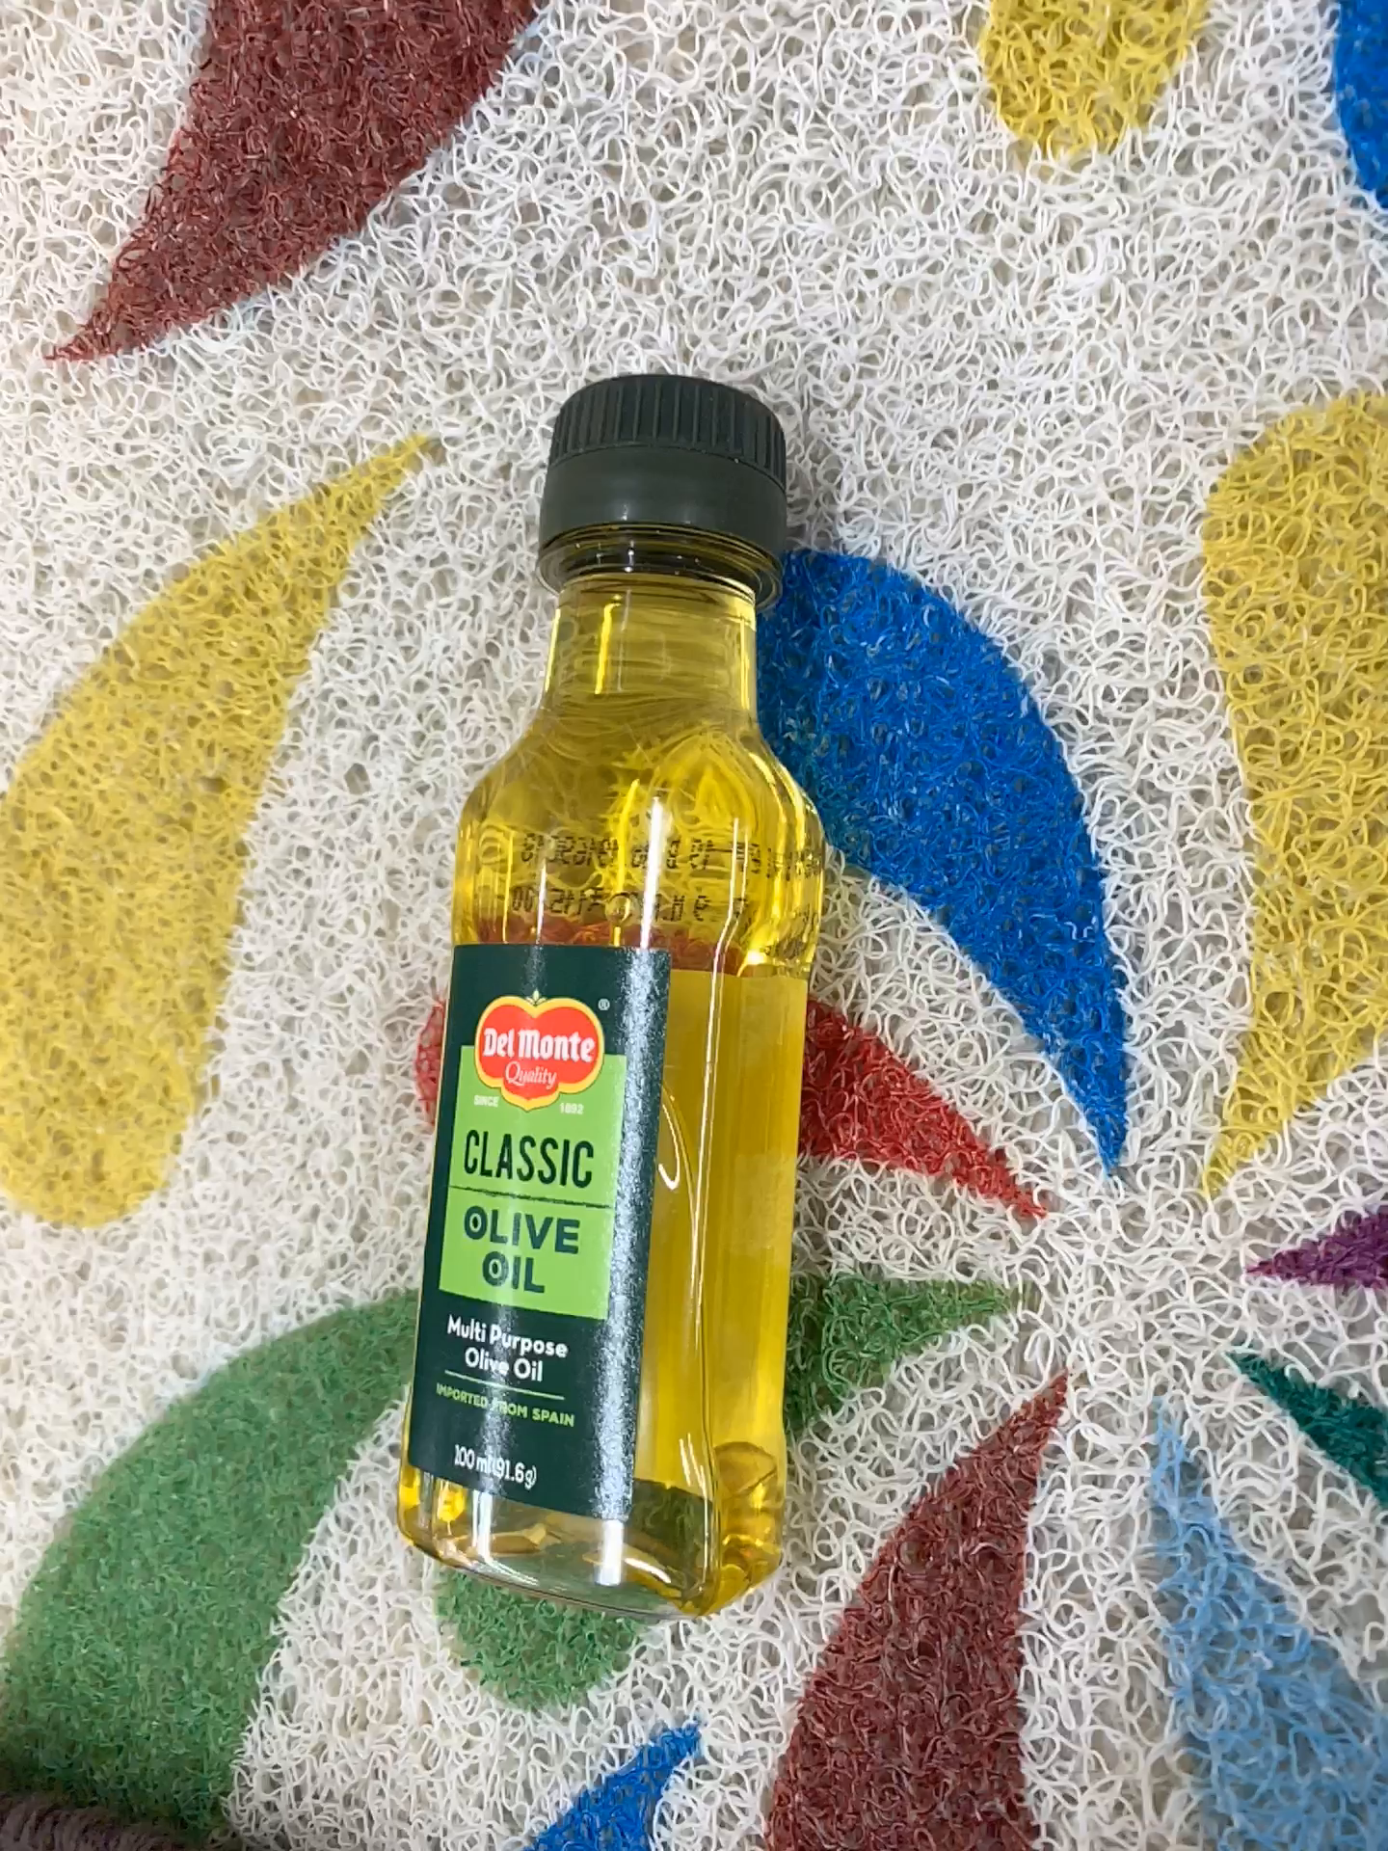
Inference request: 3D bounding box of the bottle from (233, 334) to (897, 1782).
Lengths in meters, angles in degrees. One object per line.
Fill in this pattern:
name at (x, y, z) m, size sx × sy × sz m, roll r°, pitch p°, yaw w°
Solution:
bottle at (-0.011, 0.011, 0.158) m, size 0.050 × 0.040 × 0.130 m, roll 4°, pitch 89°, yaw 21°
